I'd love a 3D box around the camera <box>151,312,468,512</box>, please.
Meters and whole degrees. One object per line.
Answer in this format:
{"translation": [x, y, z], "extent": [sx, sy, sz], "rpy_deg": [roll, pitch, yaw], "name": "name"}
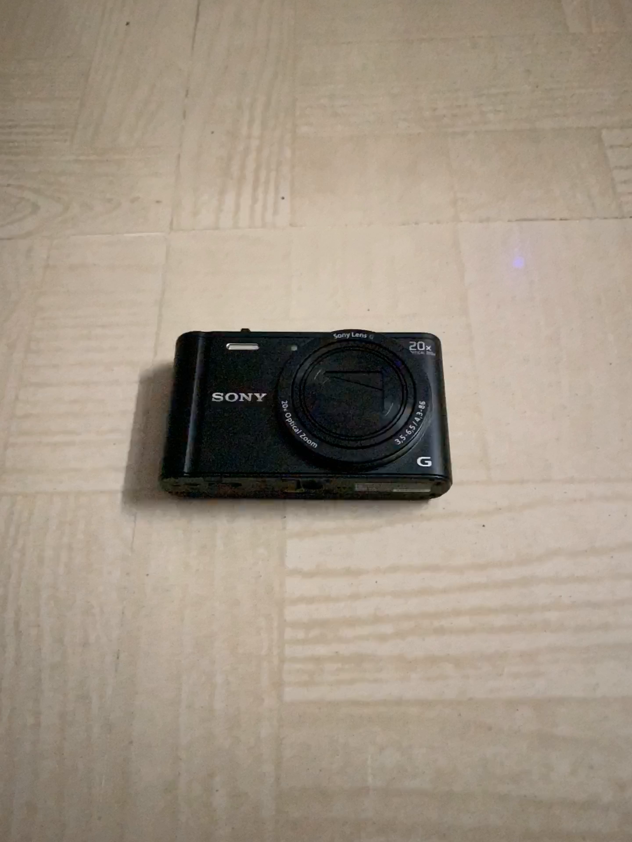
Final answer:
{"translation": [-0.001, -0.003, 0.215], "extent": [0.092, 0.025, 0.060], "rpy_deg": [0, 64, 3], "name": "camera"}
